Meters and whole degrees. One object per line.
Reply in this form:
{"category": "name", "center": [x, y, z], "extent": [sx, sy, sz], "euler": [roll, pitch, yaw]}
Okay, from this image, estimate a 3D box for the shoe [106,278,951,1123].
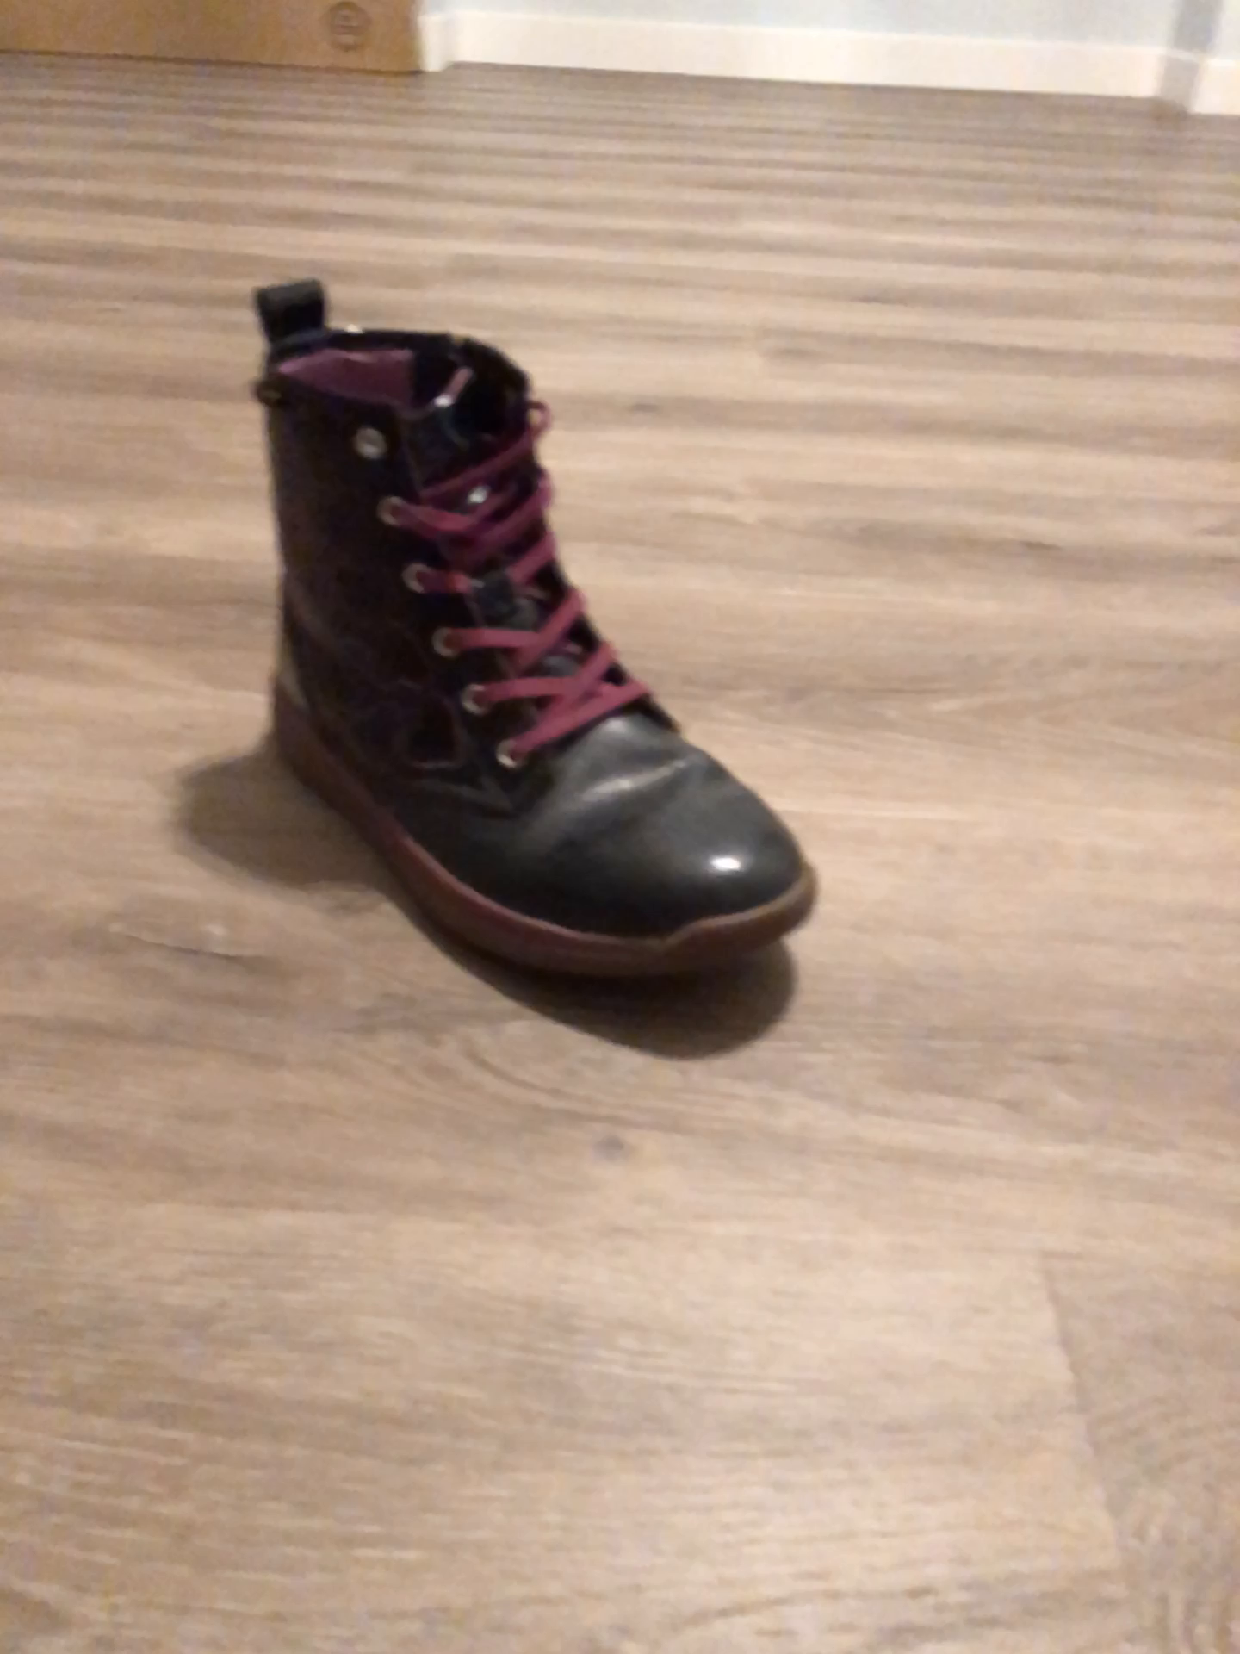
{"category": "shoe", "center": [-0.040, -0.055, 0.398], "extent": [0.100, 0.149, 0.231], "euler": [-24, 41, -35]}
